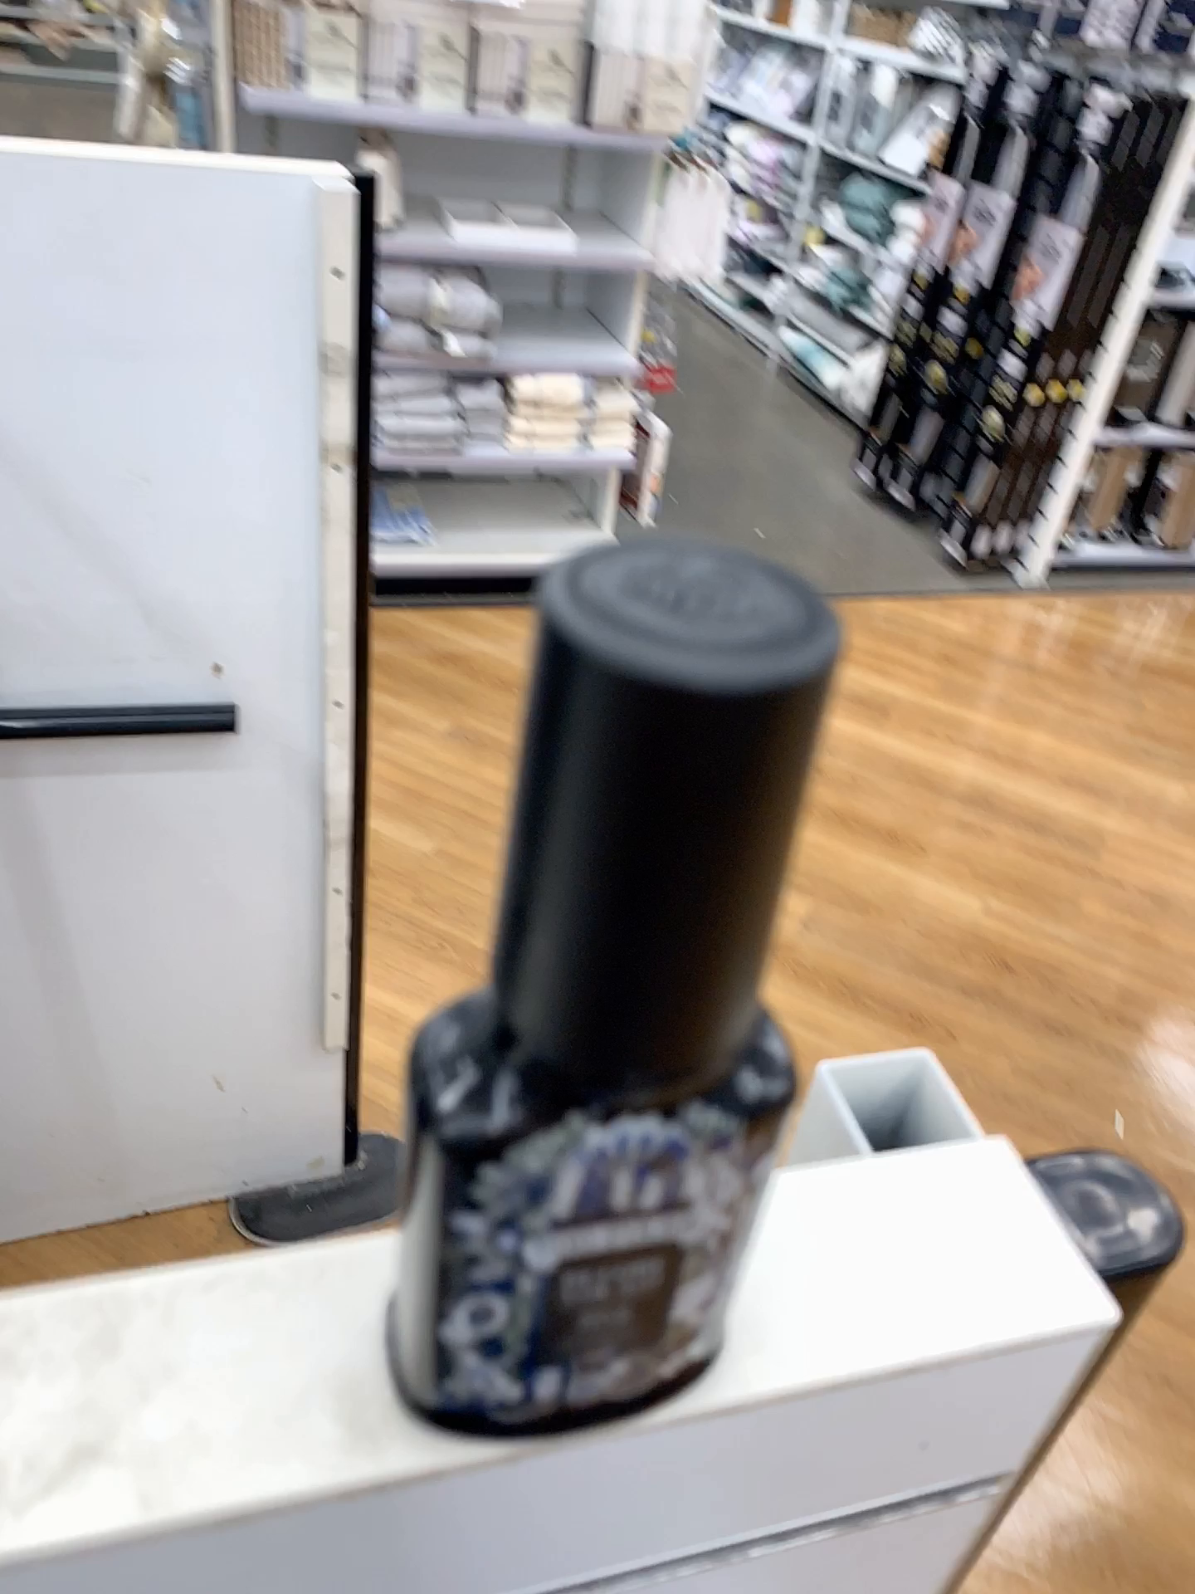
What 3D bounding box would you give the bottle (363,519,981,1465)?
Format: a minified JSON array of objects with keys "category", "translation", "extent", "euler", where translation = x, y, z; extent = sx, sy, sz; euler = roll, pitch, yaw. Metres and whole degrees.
[{"category":"bottle","translation":[-0.001,0.030,0.151],"extent":[0.050,0.123,0.033],"euler":[-4,37,-17]}]
